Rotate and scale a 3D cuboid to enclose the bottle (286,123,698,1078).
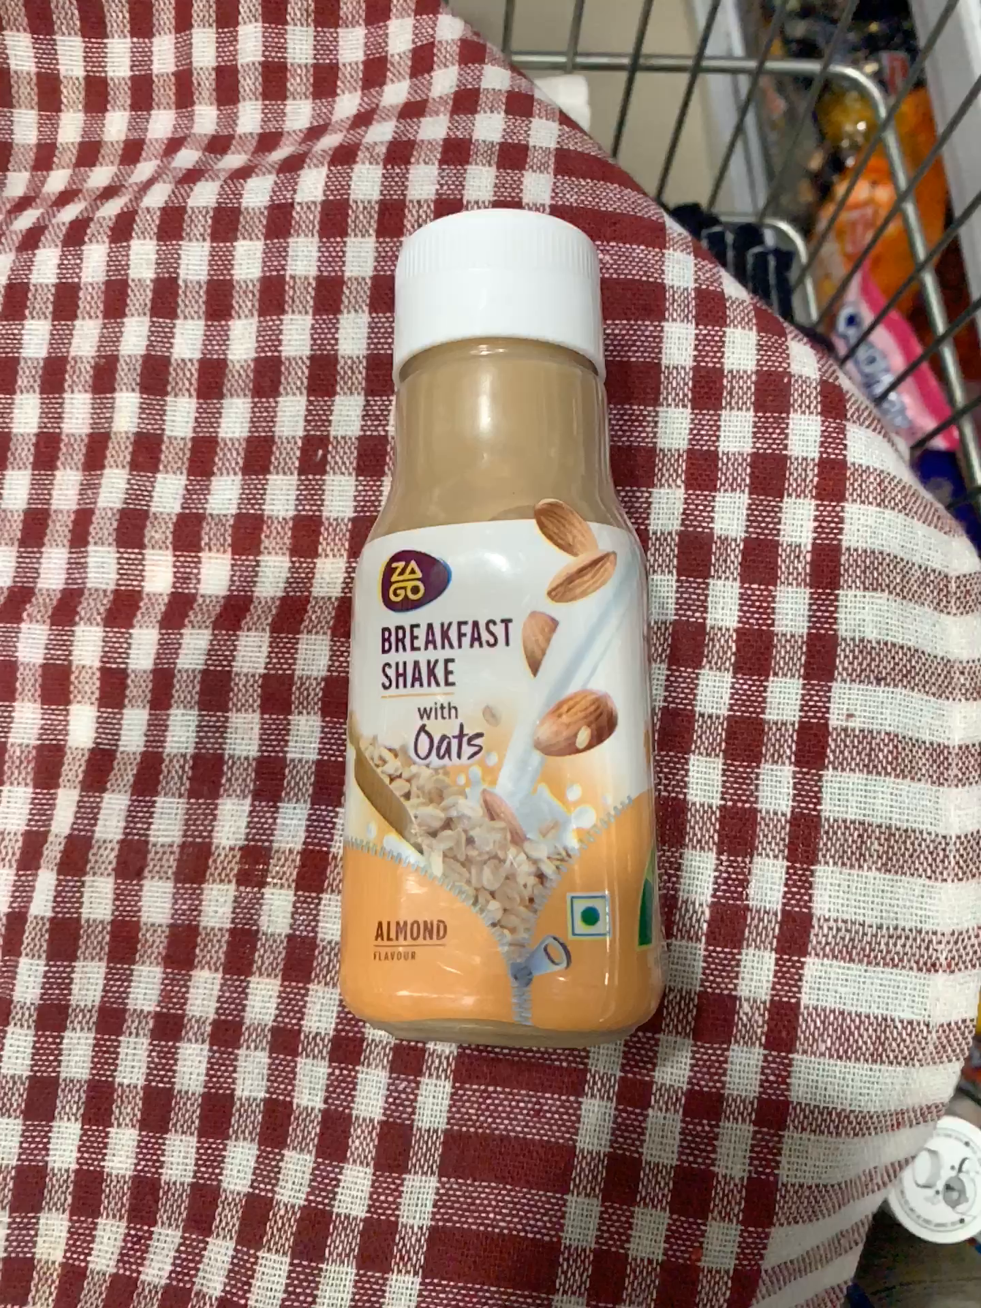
[{"bbox_3d":[0.001,-0.008,0.177,0.060,0.050,0.140,-1,88,5],"label":"bottle"}]
